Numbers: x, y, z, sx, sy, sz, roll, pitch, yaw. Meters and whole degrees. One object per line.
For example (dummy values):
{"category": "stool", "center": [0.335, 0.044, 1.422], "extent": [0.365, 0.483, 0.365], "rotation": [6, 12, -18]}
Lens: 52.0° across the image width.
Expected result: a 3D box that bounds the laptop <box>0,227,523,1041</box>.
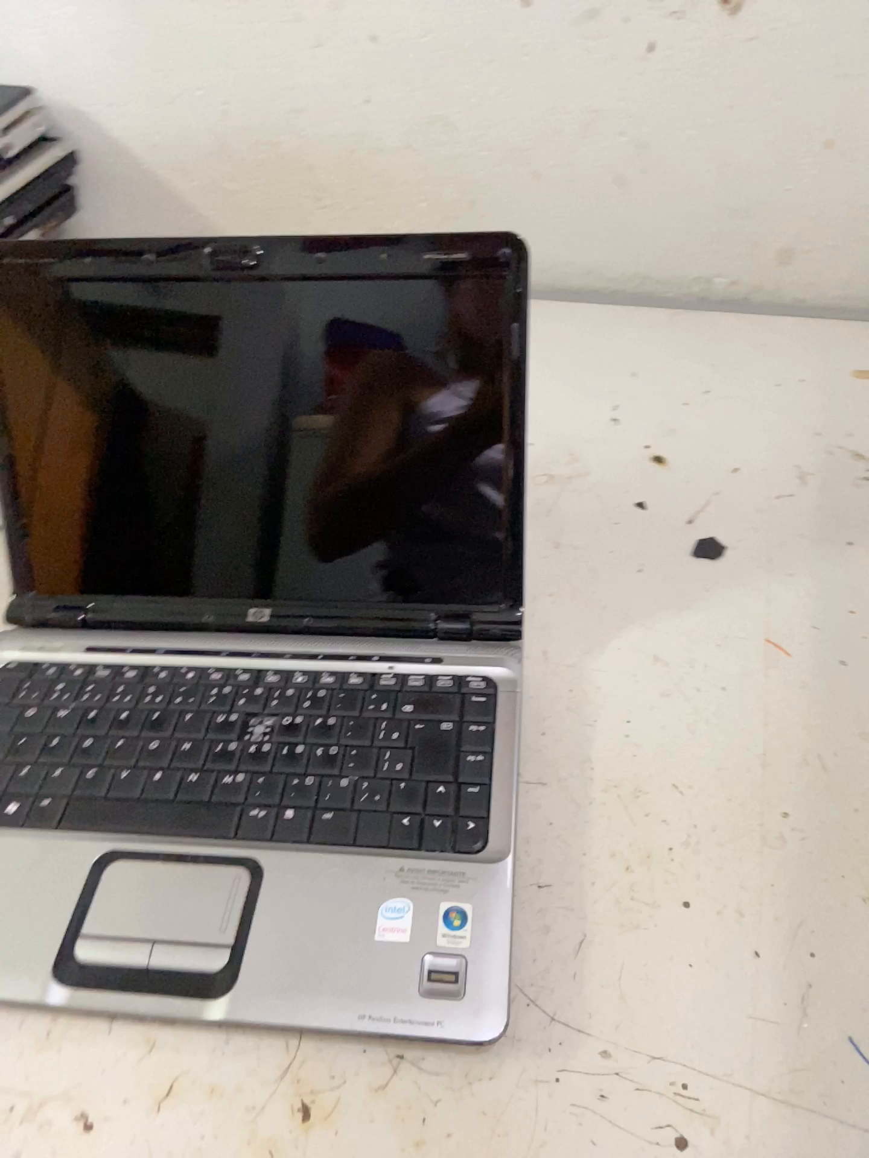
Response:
{"category": "laptop", "center": [-0.123, -0.001, 0.441], "extent": [0.321, 0.193, 0.335], "rotation": [1, 45, 7]}
